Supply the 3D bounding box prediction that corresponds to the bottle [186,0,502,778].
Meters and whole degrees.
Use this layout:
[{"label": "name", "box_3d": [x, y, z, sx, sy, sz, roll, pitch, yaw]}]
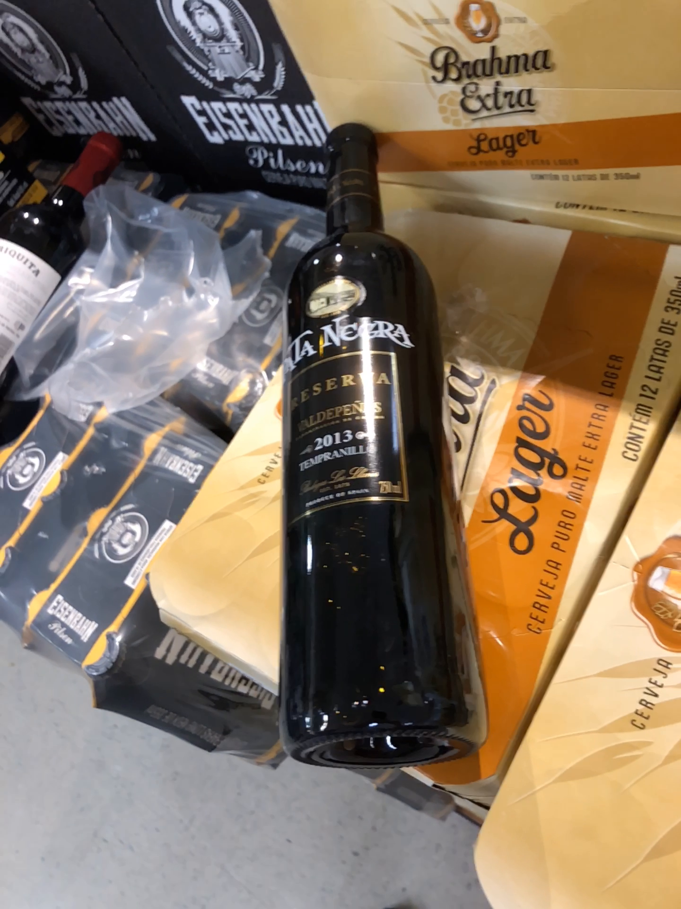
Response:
[{"label": "bottle", "box_3d": [-0.001, -0.064, 0.350, 0.080, 0.080, 0.382, -14, 57, 19]}]
